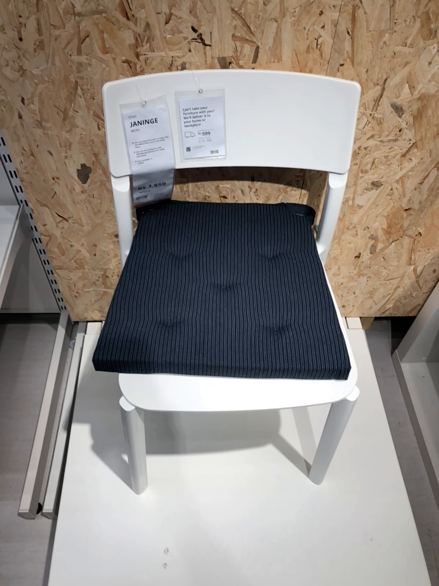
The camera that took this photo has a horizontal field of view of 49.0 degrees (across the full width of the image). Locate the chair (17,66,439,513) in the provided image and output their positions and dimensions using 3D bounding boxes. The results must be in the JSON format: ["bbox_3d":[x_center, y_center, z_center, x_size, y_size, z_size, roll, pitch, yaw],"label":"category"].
[{"bbox_3d":[0.035,0.049,0.866,0.490,0.686,0.463,-1,53,-4],"label":"chair"}]
